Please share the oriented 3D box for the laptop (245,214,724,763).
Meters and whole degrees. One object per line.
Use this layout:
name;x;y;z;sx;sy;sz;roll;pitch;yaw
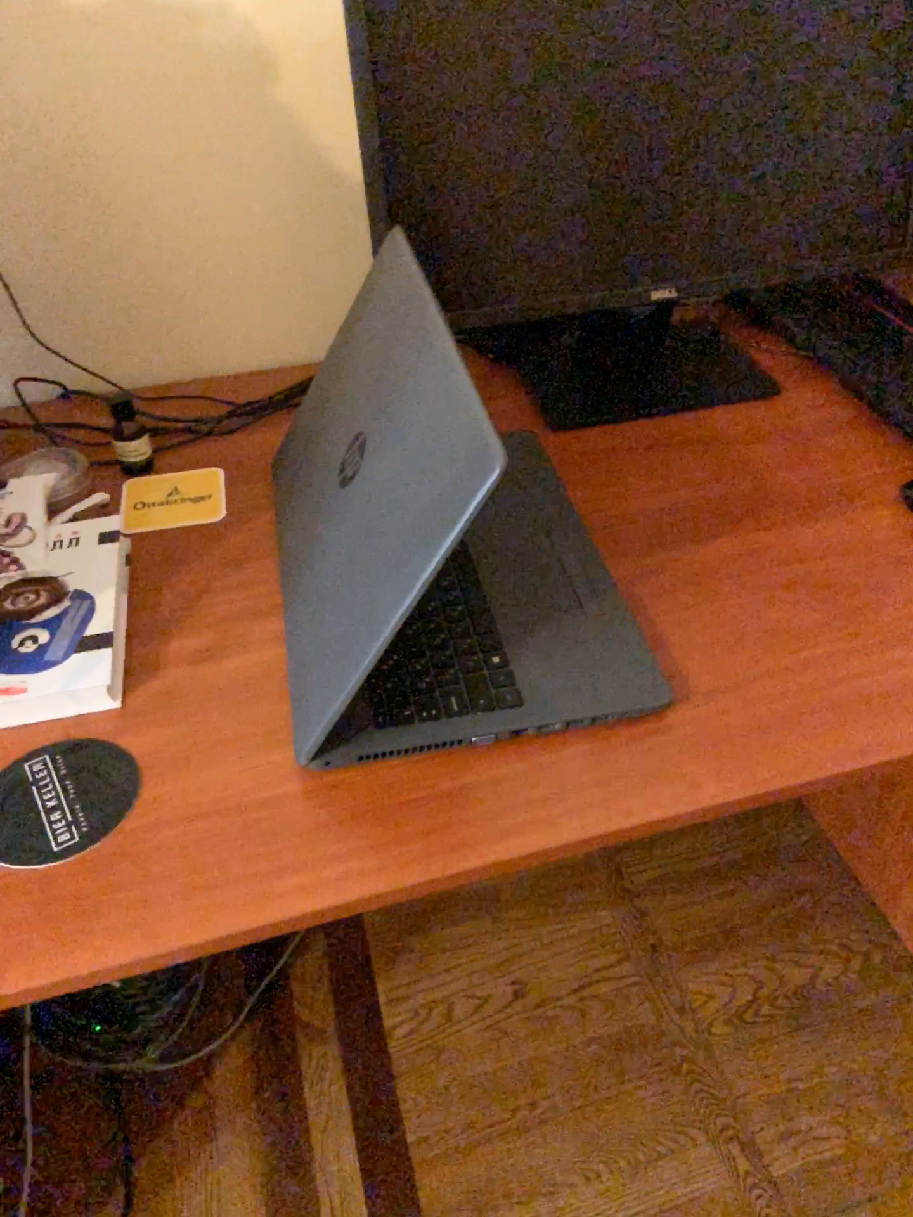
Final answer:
laptop;-0.011;-0.117;0.688;0.248;0.207;0.377;-8;40;-8
